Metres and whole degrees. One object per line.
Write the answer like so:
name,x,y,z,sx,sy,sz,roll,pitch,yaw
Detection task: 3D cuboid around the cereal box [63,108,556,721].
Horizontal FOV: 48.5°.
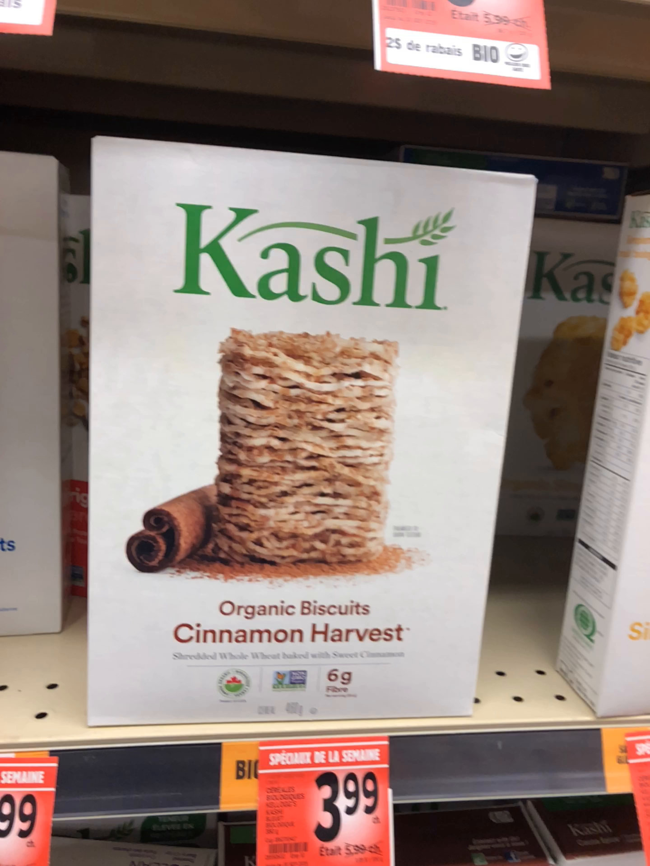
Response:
cereal box,-0.015,-0.001,0.356,0.200,0.269,0.070,2,14,-8
